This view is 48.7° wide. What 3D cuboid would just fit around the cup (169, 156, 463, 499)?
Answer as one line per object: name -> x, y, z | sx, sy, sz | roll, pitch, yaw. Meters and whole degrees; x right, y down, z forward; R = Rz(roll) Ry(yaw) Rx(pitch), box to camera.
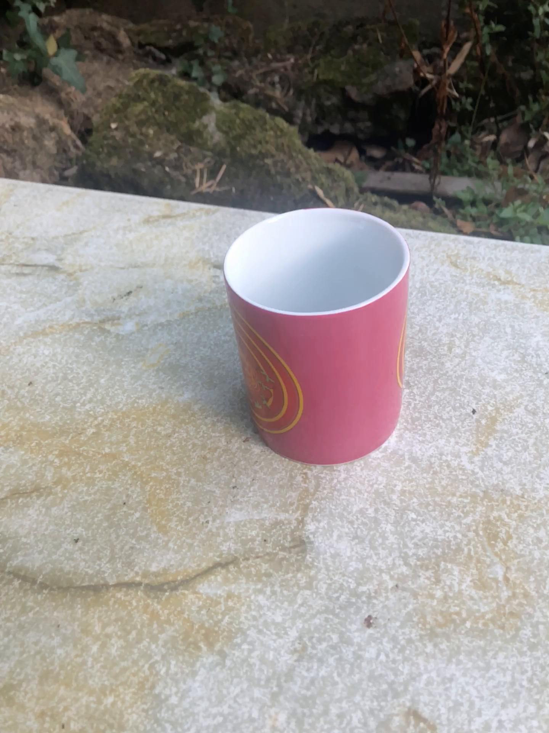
cup -> 0.014, -0.023, 0.282 | 0.076, 0.089, 0.116 | -21, 47, -14
